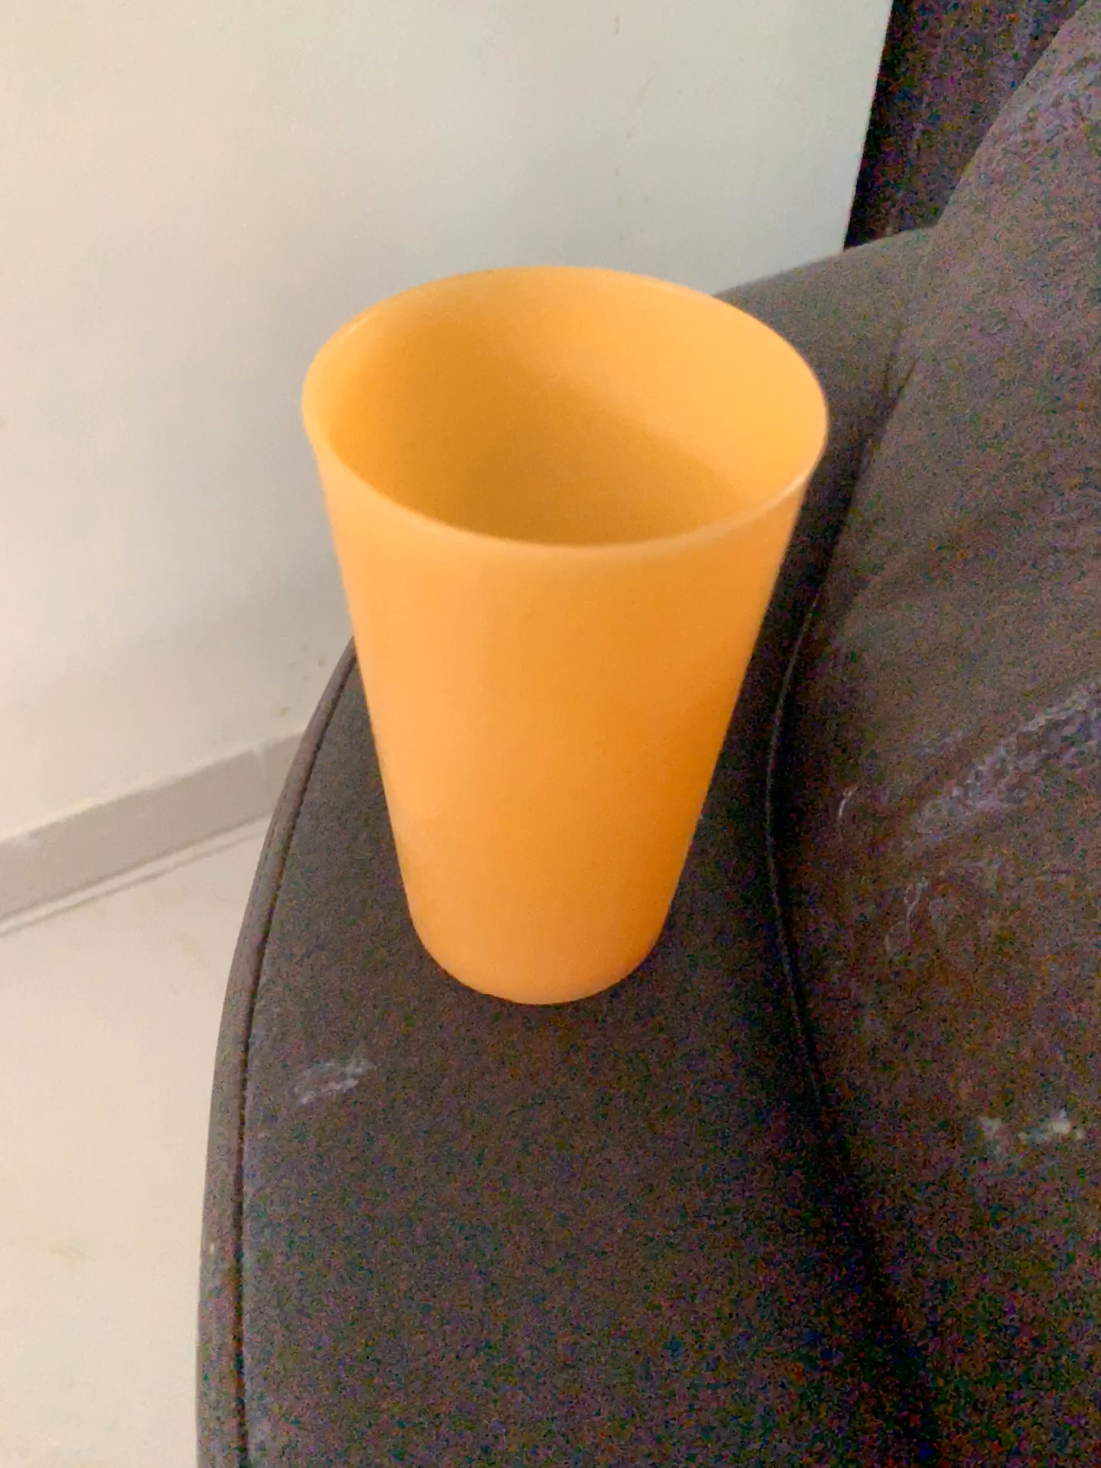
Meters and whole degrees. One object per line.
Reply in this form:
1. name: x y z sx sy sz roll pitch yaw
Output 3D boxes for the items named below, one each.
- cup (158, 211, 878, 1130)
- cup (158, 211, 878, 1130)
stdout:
1. cup: -0.002 -0.006 0.199 0.070 0.129 0.070 0 46 0
2. cup: -0.002 -0.006 0.199 0.070 0.129 0.070 0 46 0
